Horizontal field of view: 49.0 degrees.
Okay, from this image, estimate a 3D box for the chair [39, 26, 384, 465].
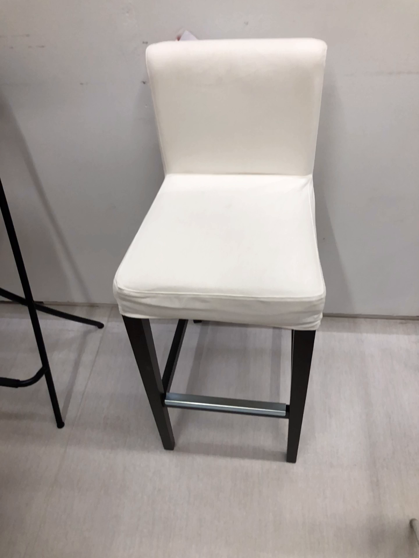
[{"bbox_3d":[0.058,-0.022,1.071,0.440,0.855,0.533,2,47,8],"label":"chair"}]
